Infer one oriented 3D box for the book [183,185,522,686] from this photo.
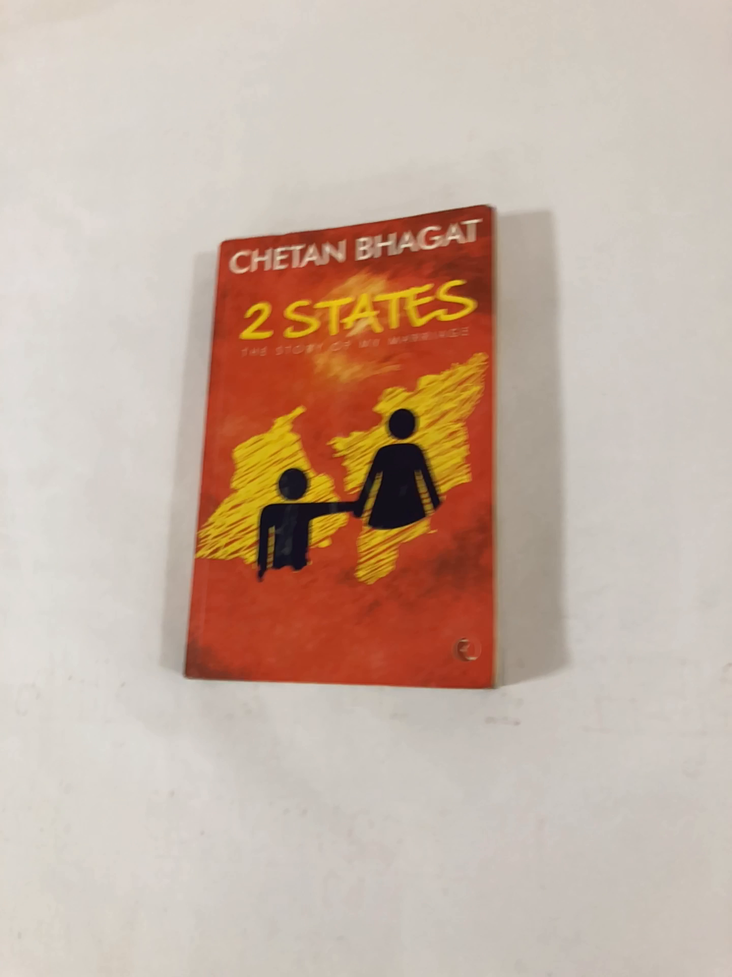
[{"bbox_3d":[-0.002,-0.019,0.332,0.123,0.040,0.190,-2,76,15],"label":"book"}]
